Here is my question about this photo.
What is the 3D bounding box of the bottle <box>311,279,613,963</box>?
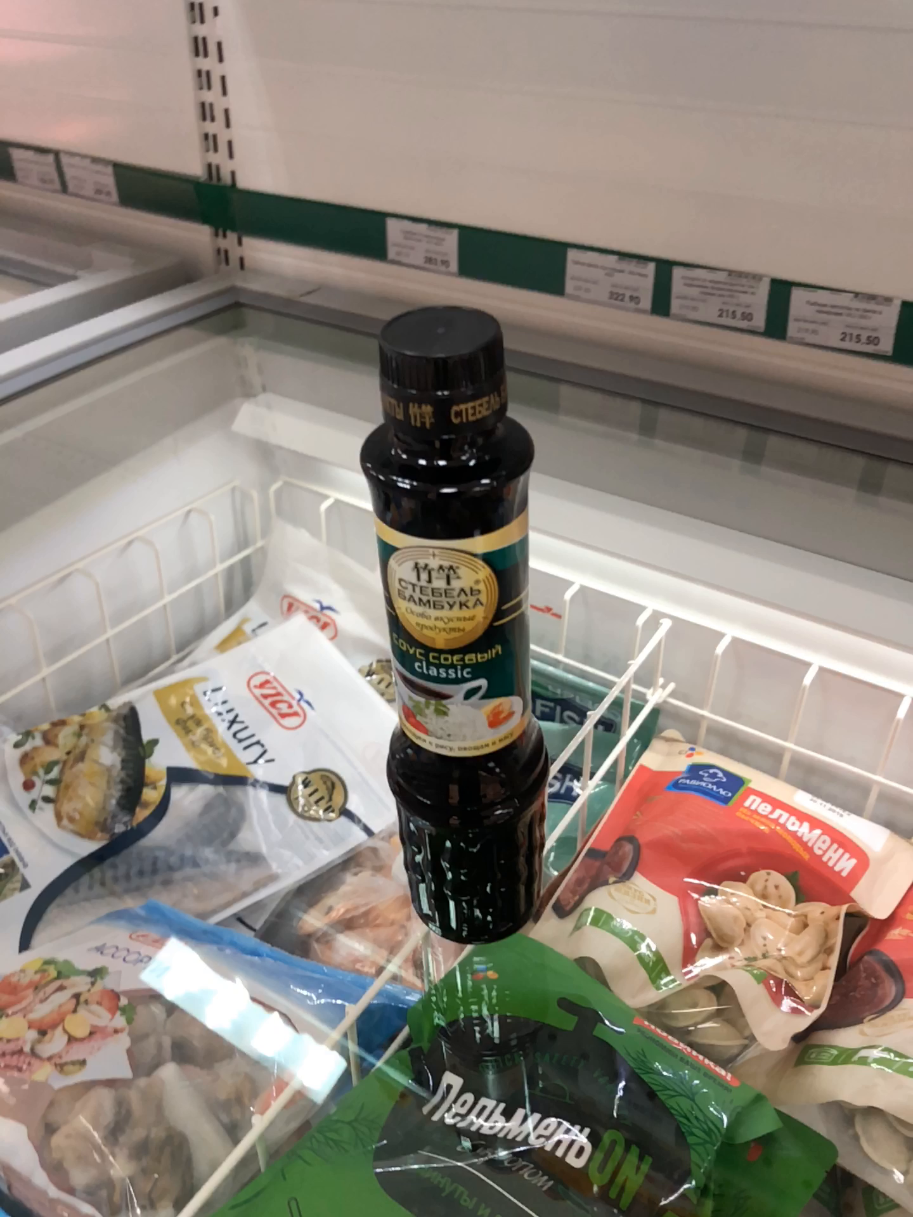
[{"bbox_3d":[0.004,0.015,0.294,0.058,0.199,0.054,0,36,0],"label":"bottle"}]
